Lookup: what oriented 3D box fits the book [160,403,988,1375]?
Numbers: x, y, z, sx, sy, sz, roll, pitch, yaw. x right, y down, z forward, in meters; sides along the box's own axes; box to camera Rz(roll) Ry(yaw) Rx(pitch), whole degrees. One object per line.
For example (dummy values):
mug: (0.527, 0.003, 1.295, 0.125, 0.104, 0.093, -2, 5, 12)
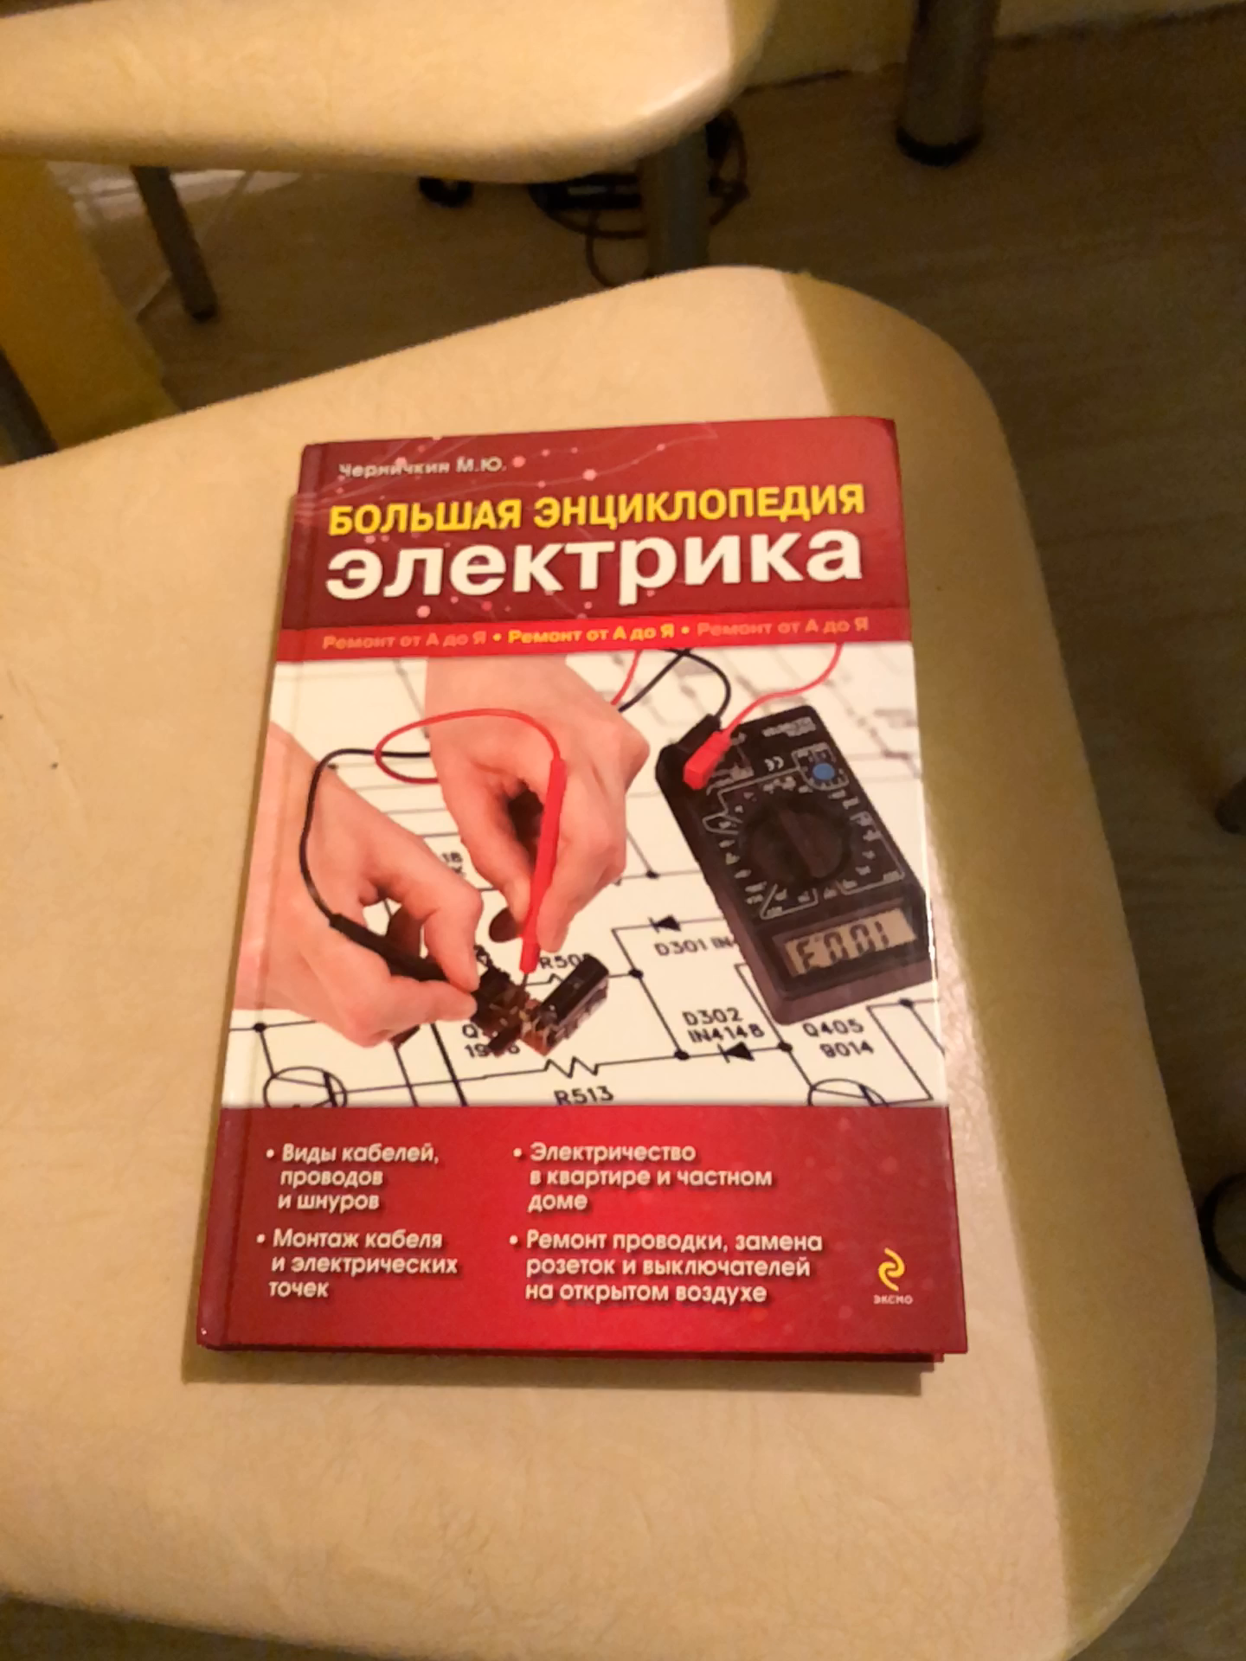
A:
book: (-0.009, 0.004, 0.345, 0.172, 0.030, 0.241, -1, 67, 6)
